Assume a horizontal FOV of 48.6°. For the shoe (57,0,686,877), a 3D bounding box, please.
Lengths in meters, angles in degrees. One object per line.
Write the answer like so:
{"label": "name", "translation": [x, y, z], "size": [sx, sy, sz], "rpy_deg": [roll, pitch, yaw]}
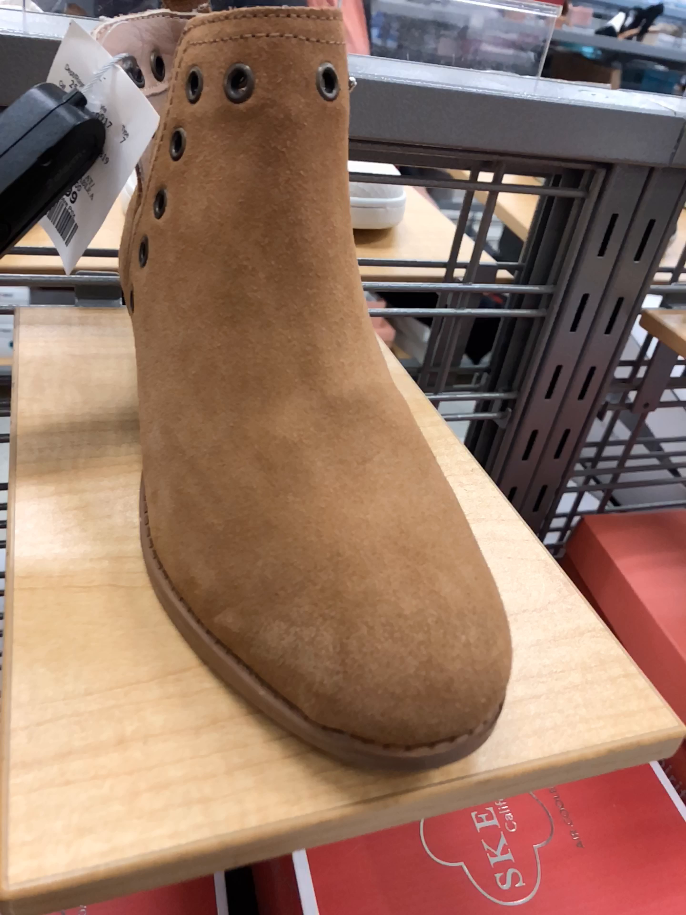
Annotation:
{"label": "shoe", "translation": [-0.022, -0.056, 0.234], "size": [0.092, 0.129, 0.282], "rpy_deg": [-5, 38, -24]}
